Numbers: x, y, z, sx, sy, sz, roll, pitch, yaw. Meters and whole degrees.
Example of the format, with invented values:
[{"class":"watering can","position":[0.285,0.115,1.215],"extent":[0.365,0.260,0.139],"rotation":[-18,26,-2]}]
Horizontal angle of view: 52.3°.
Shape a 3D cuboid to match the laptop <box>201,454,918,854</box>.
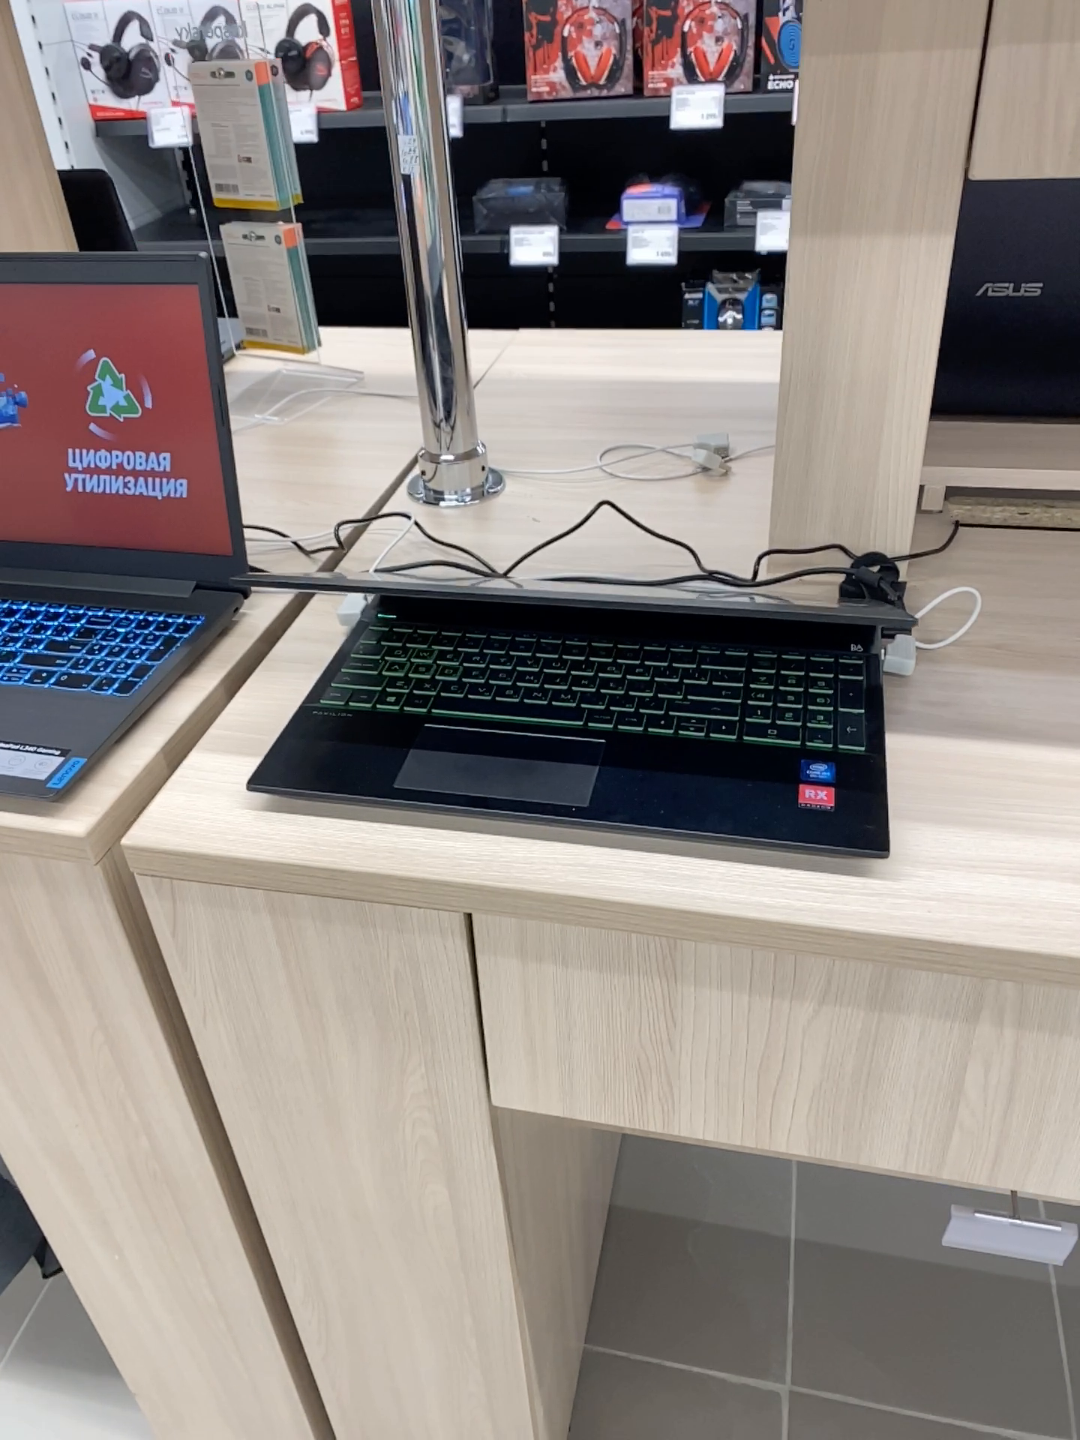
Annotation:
[{"class":"laptop","position":[0.024,-0.059,0.668],"extent":[0.364,0.108,0.236],"rotation":[5,36,13]}]
